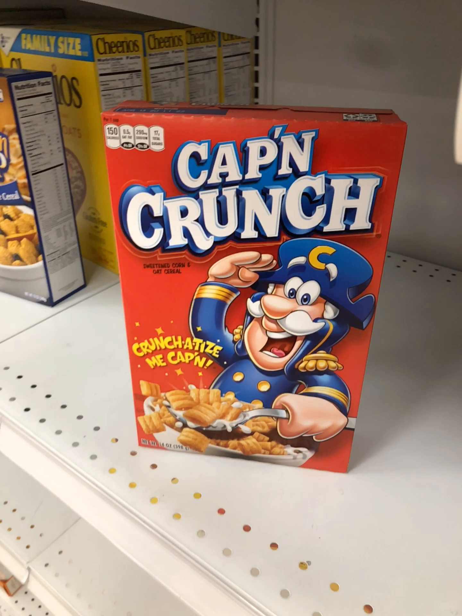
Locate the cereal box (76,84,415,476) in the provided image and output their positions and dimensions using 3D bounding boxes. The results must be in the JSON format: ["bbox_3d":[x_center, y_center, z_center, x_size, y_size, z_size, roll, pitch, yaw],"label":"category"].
[{"bbox_3d":[0.009,-0.010,0.423,0.210,0.309,0.070,5,31,8],"label":"cereal box"}]
